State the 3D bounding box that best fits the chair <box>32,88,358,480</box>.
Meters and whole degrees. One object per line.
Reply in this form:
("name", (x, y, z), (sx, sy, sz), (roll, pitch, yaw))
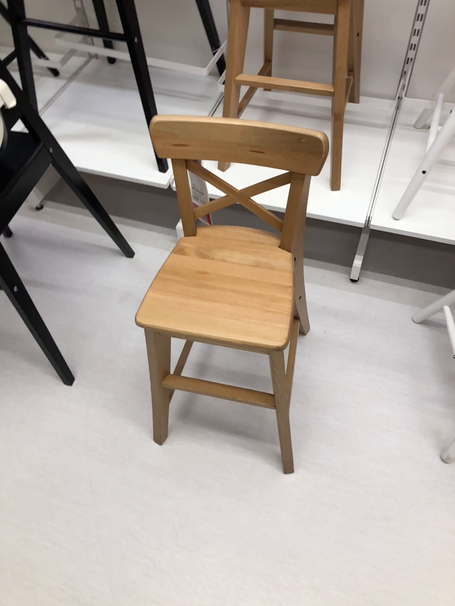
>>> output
("chair", (-0.002, 0.006, 1.038), (0.390, 0.676, 0.432), (11, 56, 12))
